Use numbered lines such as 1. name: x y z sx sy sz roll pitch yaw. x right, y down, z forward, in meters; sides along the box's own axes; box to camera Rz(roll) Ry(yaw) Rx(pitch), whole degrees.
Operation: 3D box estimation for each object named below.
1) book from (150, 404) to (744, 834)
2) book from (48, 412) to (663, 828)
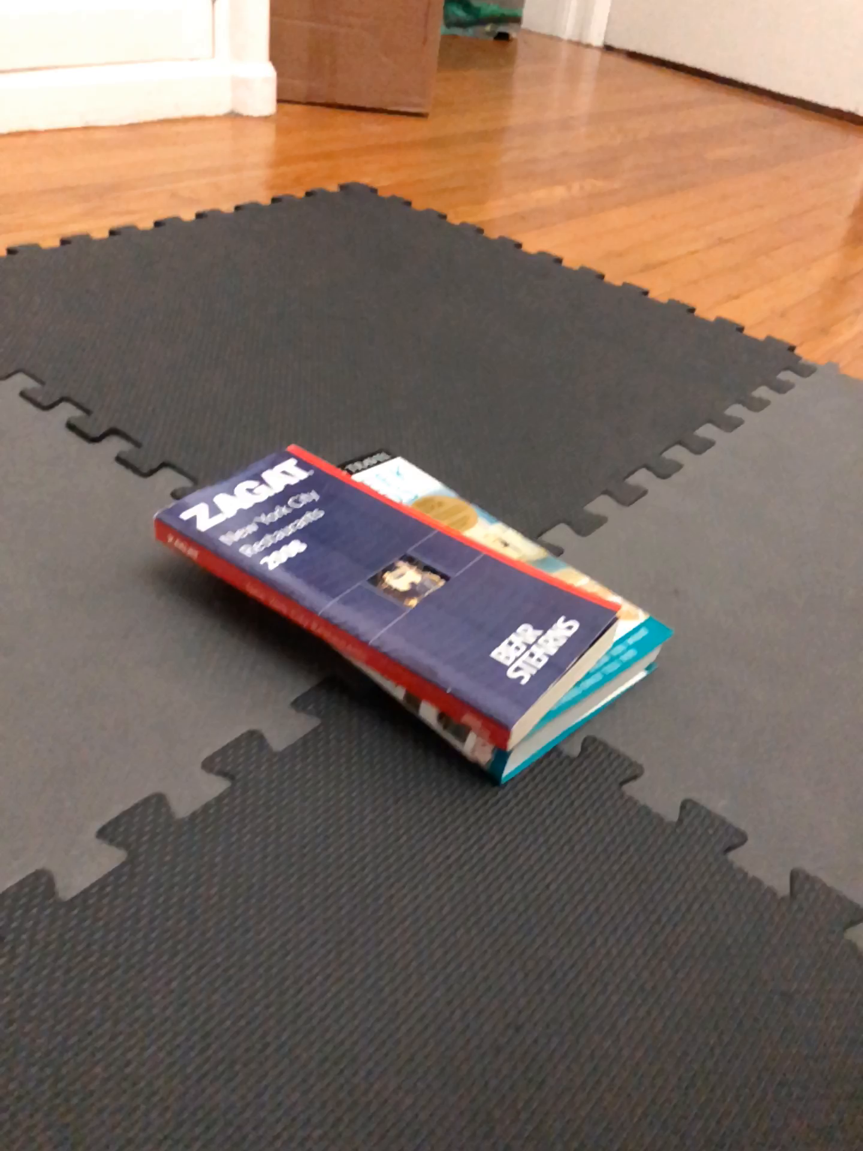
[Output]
1. book: 0.003 -0.002 0.495 0.261 0.030 0.171 34 43 30
2. book: -0.036 0.000 0.453 0.250 0.020 0.151 28 40 23
